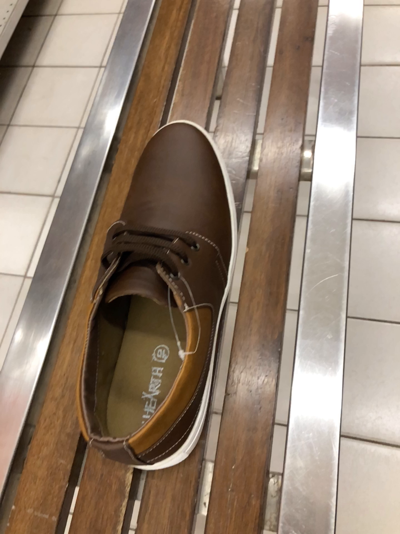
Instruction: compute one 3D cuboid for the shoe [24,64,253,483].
[{"bbox_3d":[-0.027,-0.010,0.351,0.100,0.080,0.311,4,67,13],"label":"shoe"}]
